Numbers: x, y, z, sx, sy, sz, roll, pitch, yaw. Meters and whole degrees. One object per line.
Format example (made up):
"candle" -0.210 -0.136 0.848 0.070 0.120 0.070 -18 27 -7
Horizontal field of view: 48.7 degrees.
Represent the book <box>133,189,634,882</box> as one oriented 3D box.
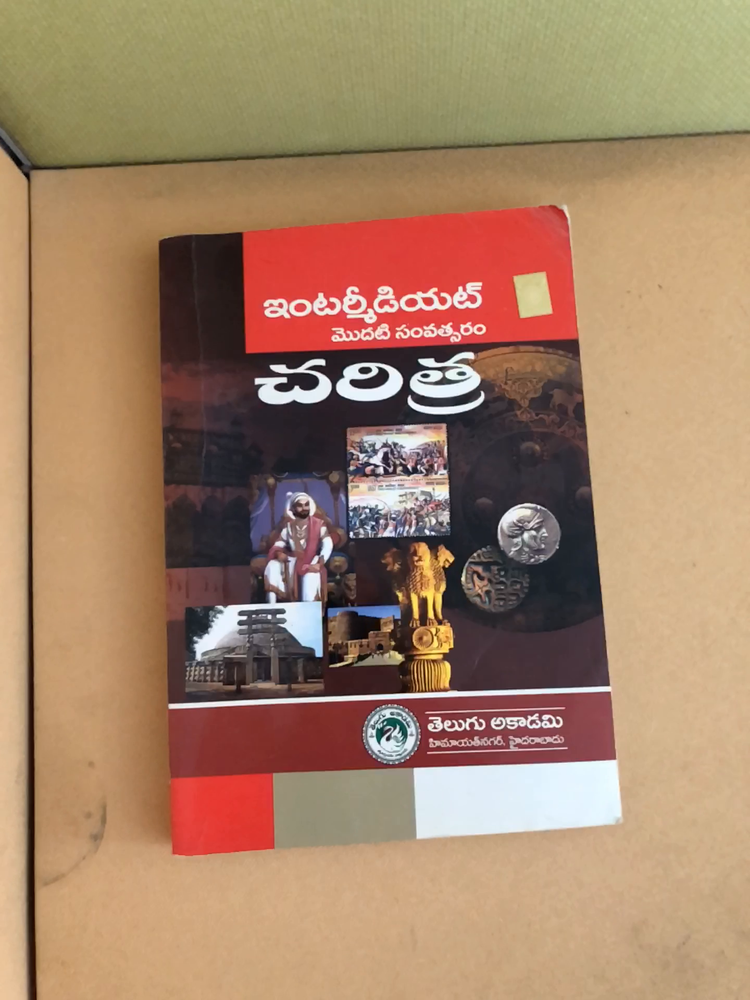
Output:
"book" -0.002 0.010 0.376 0.200 0.030 0.290 -4 83 1
